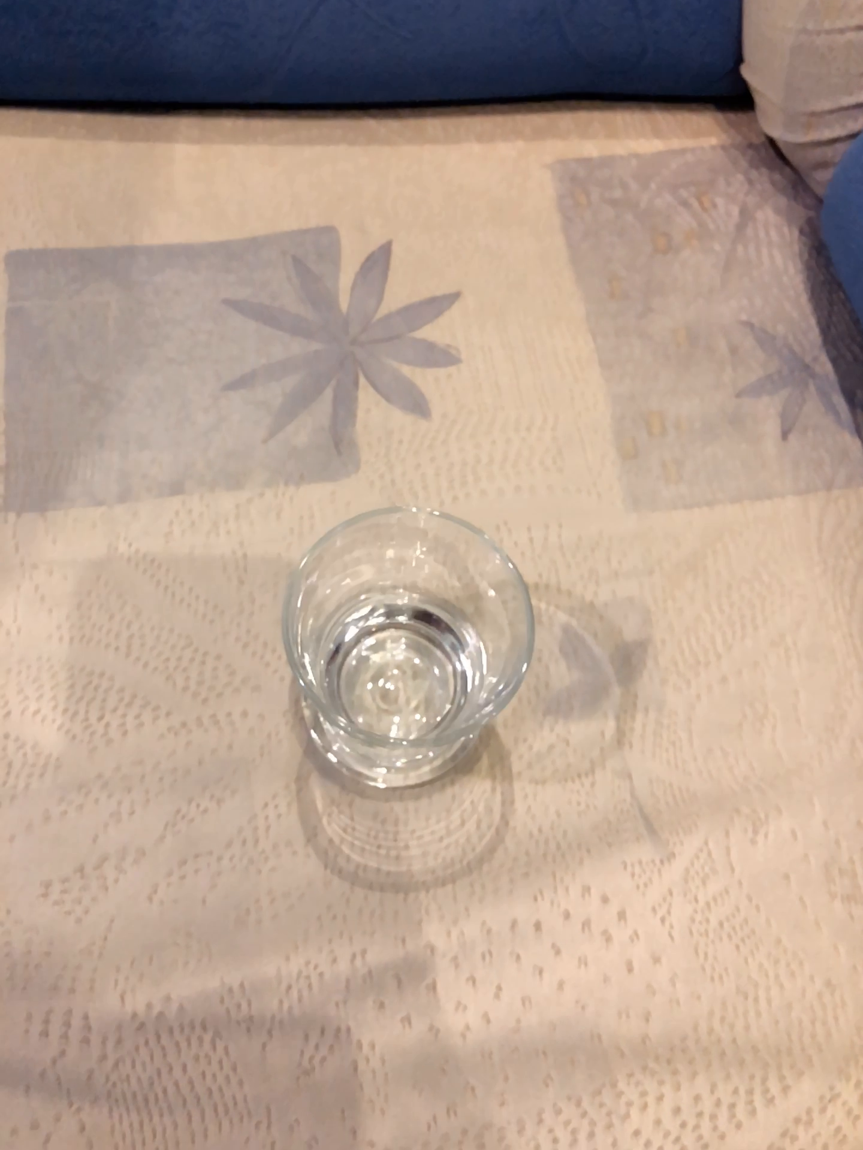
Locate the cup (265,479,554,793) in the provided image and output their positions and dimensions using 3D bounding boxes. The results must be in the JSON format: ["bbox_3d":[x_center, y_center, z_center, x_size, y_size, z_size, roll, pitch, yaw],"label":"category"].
[{"bbox_3d":[-0.010,0.025,0.342,0.086,0.083,0.085,2,64,-5],"label":"cup"}]
